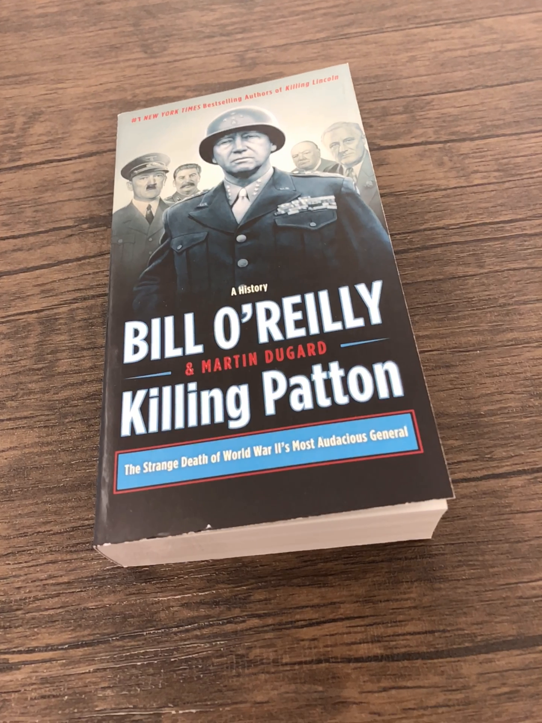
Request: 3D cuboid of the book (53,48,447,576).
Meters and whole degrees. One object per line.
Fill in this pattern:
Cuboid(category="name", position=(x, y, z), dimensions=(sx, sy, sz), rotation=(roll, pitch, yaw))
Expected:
Cuboid(category="book", position=(-0.012, -0.027, 0.219), dimensions=(0.105, 0.040, 0.182), rotation=(-10, 61, 7))
